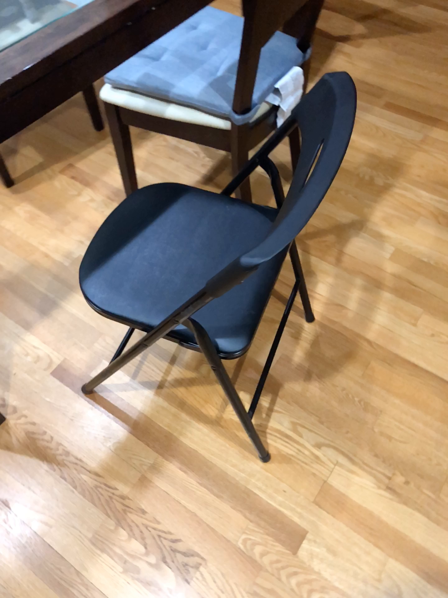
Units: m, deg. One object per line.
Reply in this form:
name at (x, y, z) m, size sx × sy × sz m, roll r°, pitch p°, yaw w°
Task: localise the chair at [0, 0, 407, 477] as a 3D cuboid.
chair at (-0.036, -0.082, 1.001) m, size 0.520 × 0.697 × 0.522 m, roll 18°, pitch 57°, yaw 13°
